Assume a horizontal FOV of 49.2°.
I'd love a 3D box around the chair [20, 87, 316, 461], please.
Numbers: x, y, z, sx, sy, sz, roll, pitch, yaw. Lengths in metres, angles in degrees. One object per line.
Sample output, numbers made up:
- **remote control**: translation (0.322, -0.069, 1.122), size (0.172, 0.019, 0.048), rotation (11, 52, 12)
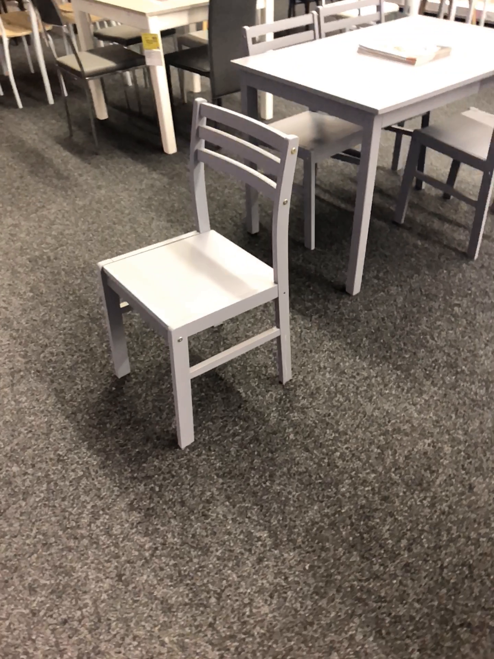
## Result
- **chair**: translation (-0.176, -0.160, 1.487), size (0.492, 0.766, 0.491), rotation (-29, 47, -28)
